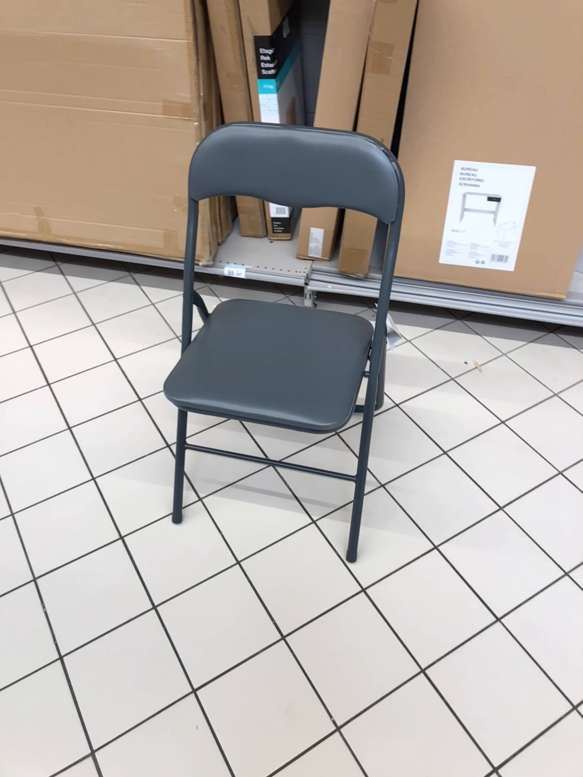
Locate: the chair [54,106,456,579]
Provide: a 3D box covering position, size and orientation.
[{"bbox_3d":[-0.022,-0.082,1.327,0.550,0.756,0.503,10,45,10],"label":"chair"}]
